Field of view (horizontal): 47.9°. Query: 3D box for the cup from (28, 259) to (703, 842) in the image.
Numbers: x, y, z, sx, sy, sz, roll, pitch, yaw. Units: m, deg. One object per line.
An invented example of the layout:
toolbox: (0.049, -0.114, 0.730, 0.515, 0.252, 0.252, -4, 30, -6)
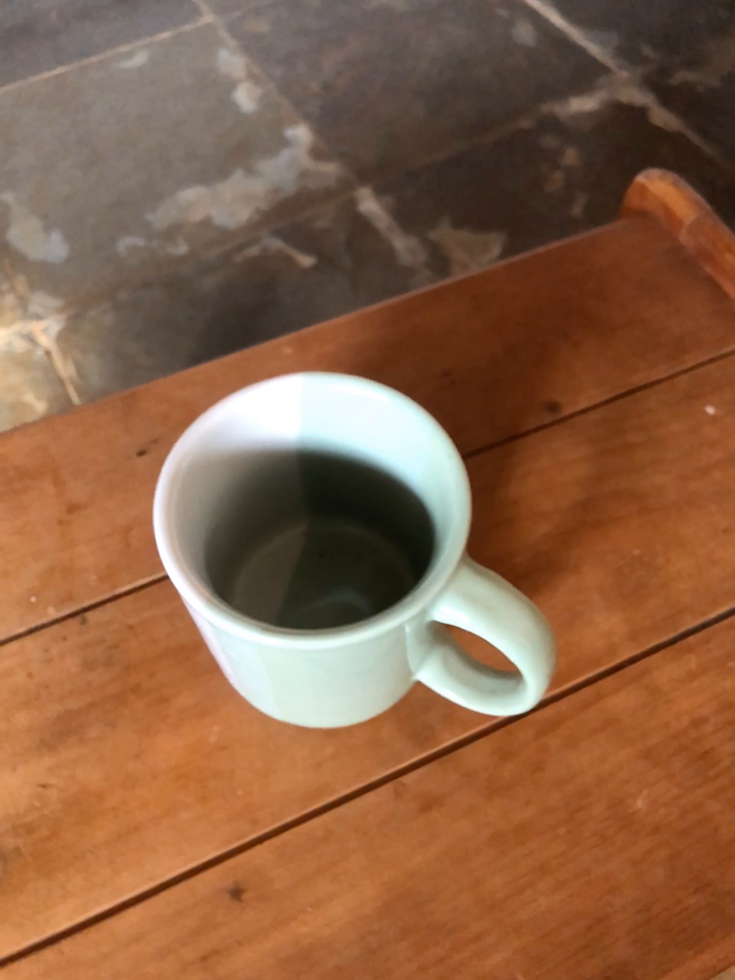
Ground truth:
cup: (0.000, 0.019, 0.226, 0.130, 0.090, 0.080, 26, 64, 14)
